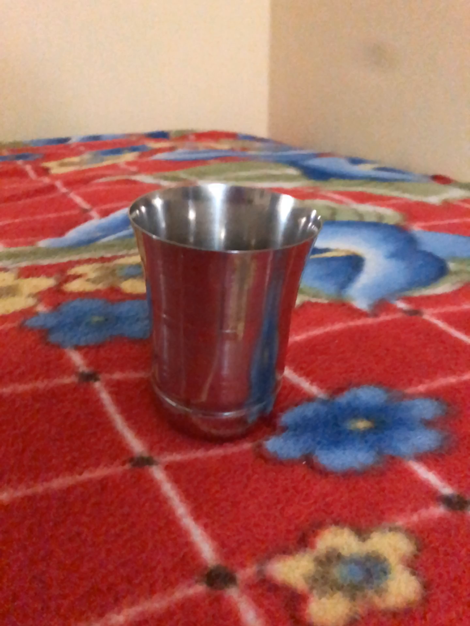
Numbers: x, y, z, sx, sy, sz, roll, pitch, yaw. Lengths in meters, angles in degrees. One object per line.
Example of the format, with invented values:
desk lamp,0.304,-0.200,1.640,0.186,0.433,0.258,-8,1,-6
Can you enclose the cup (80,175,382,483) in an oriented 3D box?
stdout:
cup,-0.009,-0.003,0.225,0.089,0.090,0.087,4,26,-2
